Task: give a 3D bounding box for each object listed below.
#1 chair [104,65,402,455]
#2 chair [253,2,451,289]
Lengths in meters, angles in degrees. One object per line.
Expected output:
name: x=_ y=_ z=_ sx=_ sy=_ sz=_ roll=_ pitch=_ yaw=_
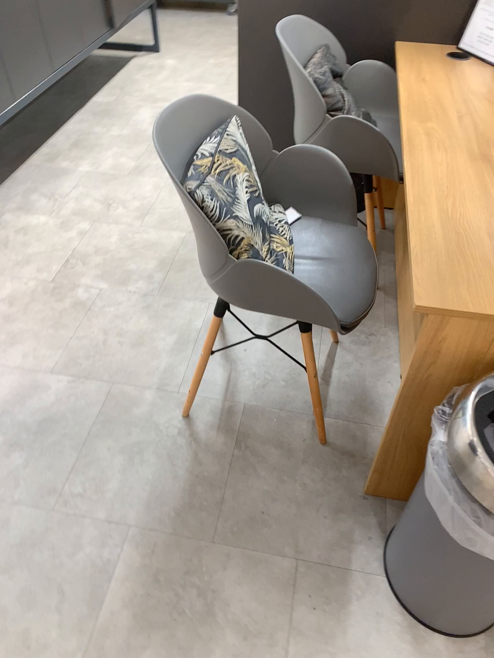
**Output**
chair: x=0.060 y=-0.177 z=1.393 sx=0.546 sy=0.808 sz=0.603 roll=9 pitch=46 yaw=9
chair: x=0.358 y=-0.692 z=1.921 sx=0.546 sy=0.808 sz=0.592 roll=9 pitch=46 yaw=9
